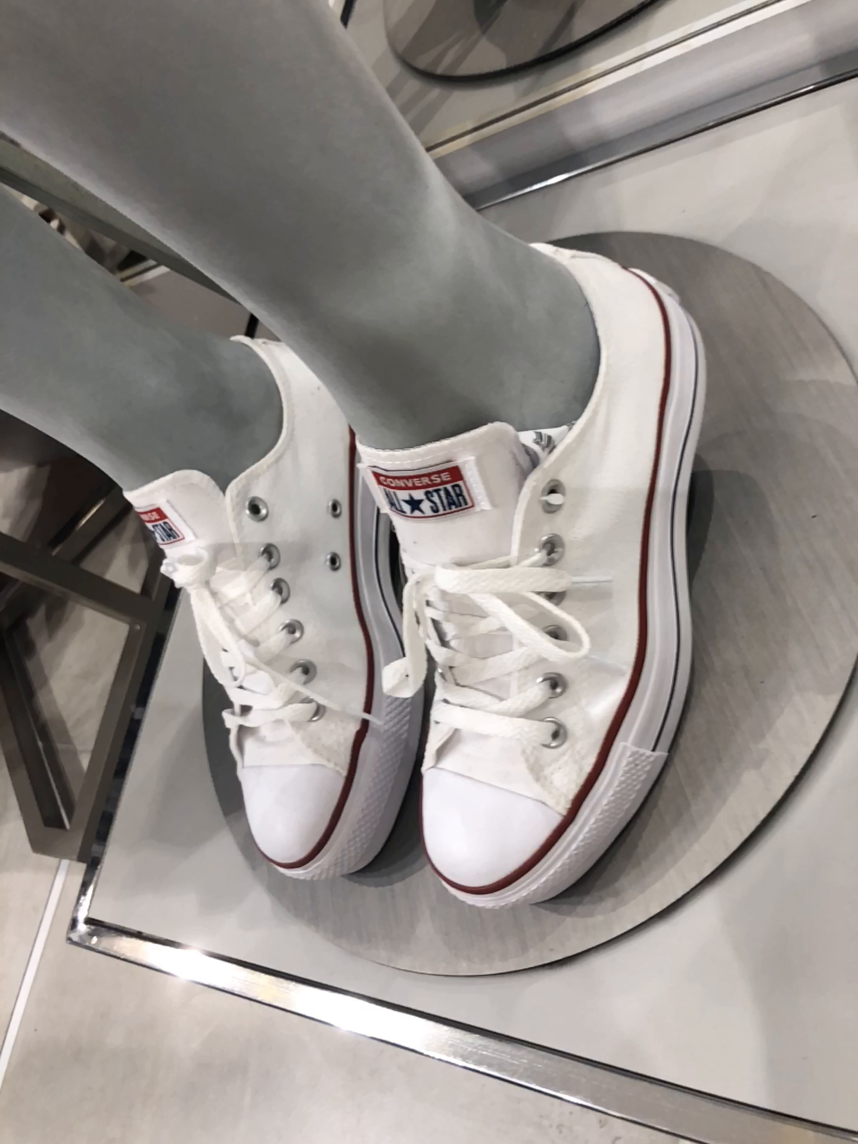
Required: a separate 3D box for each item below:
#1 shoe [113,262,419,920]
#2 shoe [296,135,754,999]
[{"bbox_3d":[-0.076,0.011,0.449,0.100,0.090,0.270,-10,76,36],"label":"shoe"},{"bbox_3d":[0.039,-0.003,0.375,0.111,0.090,0.280,6,86,41],"label":"shoe"}]
